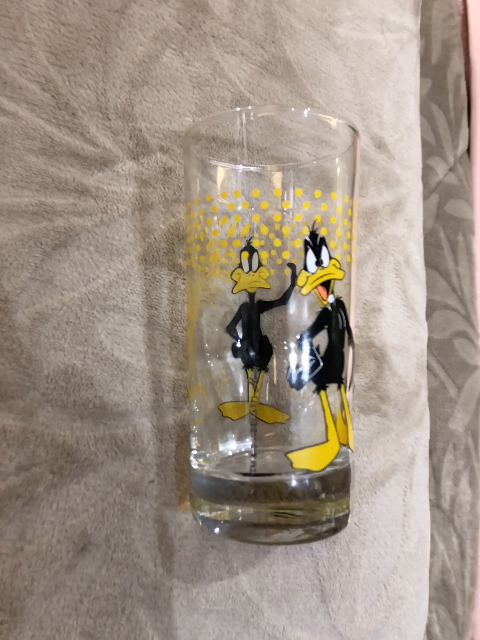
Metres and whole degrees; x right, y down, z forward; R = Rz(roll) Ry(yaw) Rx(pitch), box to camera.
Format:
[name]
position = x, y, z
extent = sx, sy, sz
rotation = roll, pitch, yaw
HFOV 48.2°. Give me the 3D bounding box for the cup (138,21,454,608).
[cup]
position = 0.014, -0.002, 0.192
extent = 0.070, 0.070, 0.160
rotation = -1, 83, -31
